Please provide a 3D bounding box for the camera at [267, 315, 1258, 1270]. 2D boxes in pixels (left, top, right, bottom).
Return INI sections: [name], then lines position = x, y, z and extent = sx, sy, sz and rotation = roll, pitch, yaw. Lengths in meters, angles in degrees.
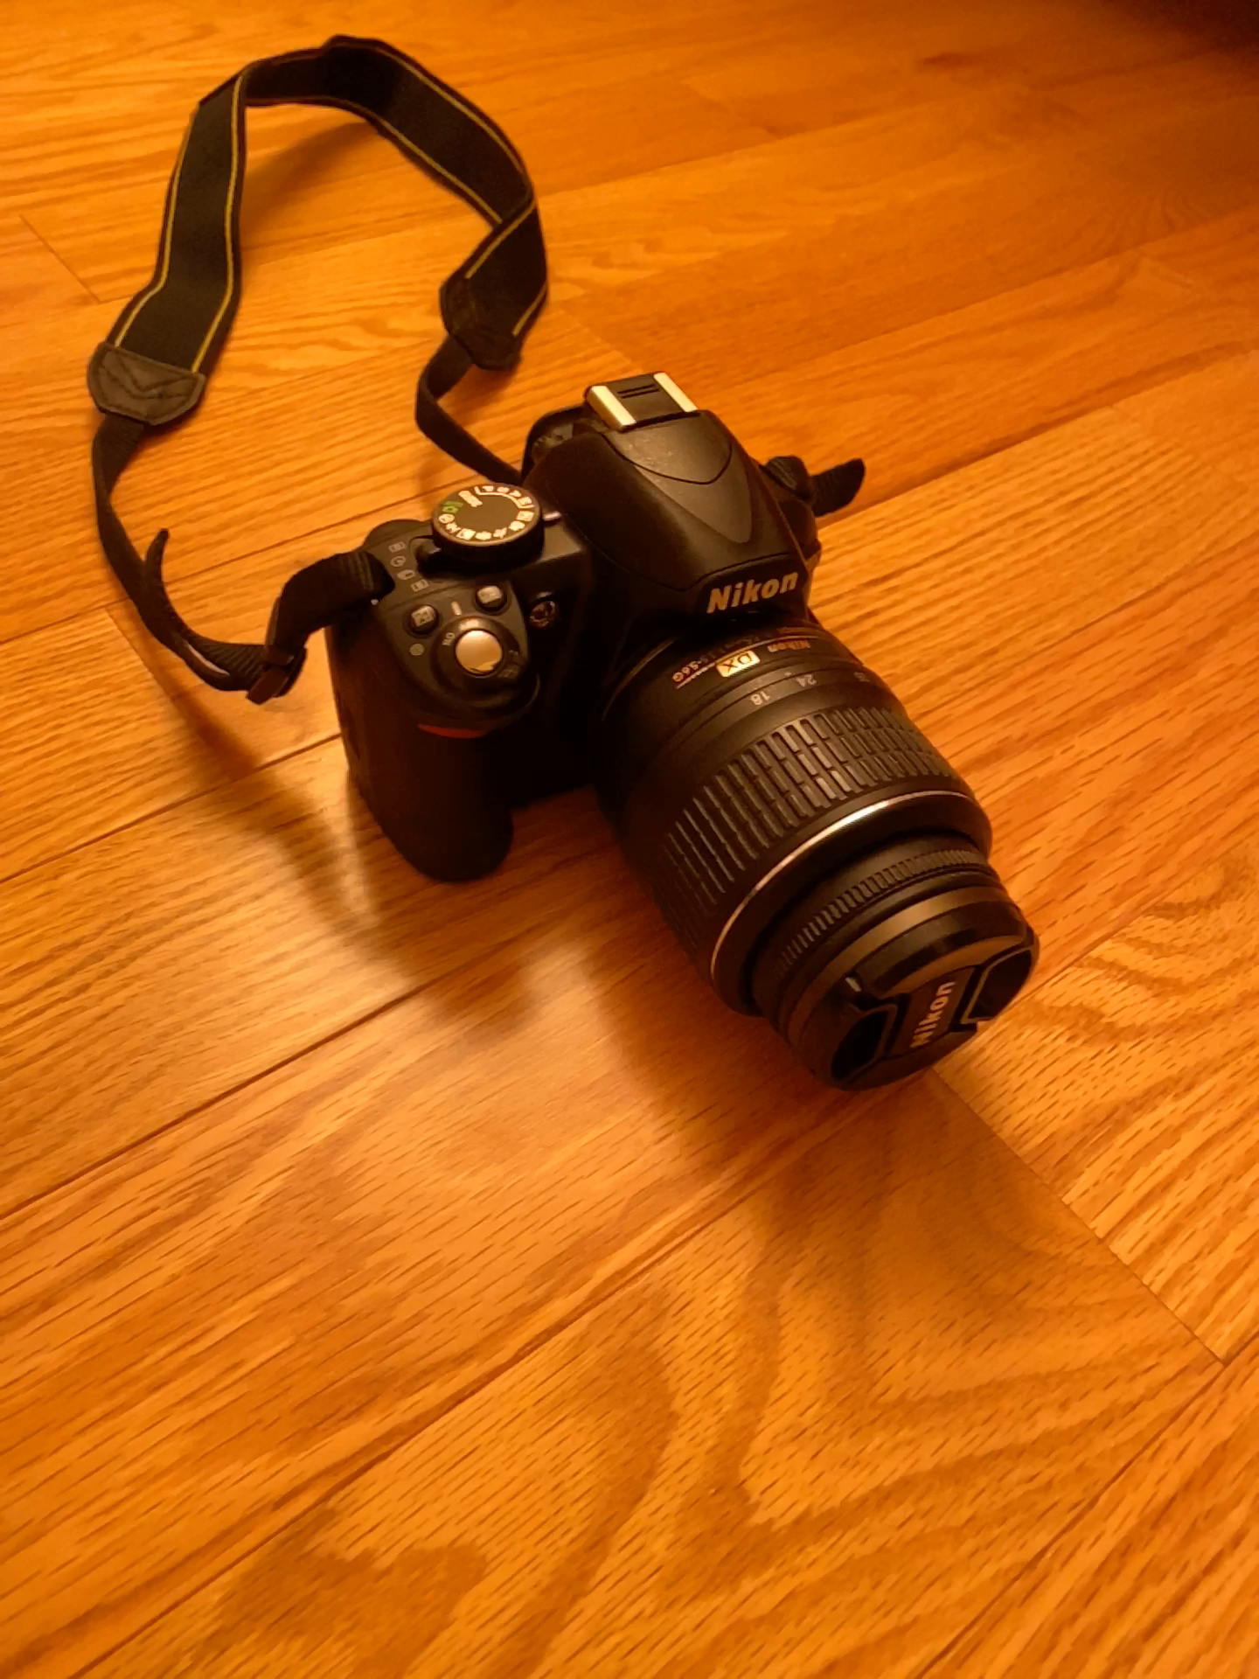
[camera]
position = 0.015, -0.022, 0.293
extent = 0.130, 0.099, 0.161
rotation = -21, 54, -21
